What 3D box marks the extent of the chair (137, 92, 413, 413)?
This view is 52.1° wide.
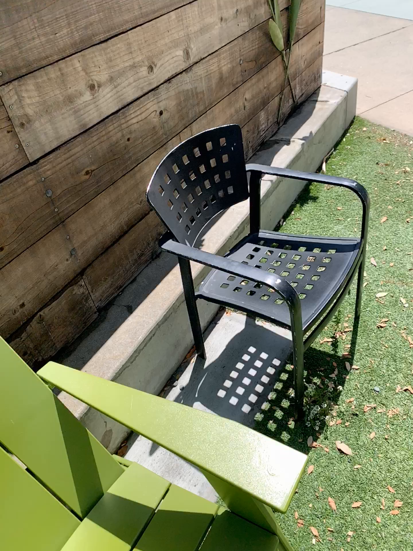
[{"bbox_3d":[0.243,-0.100,1.367,0.522,0.716,0.592,20,49,30],"label":"chair"}]
